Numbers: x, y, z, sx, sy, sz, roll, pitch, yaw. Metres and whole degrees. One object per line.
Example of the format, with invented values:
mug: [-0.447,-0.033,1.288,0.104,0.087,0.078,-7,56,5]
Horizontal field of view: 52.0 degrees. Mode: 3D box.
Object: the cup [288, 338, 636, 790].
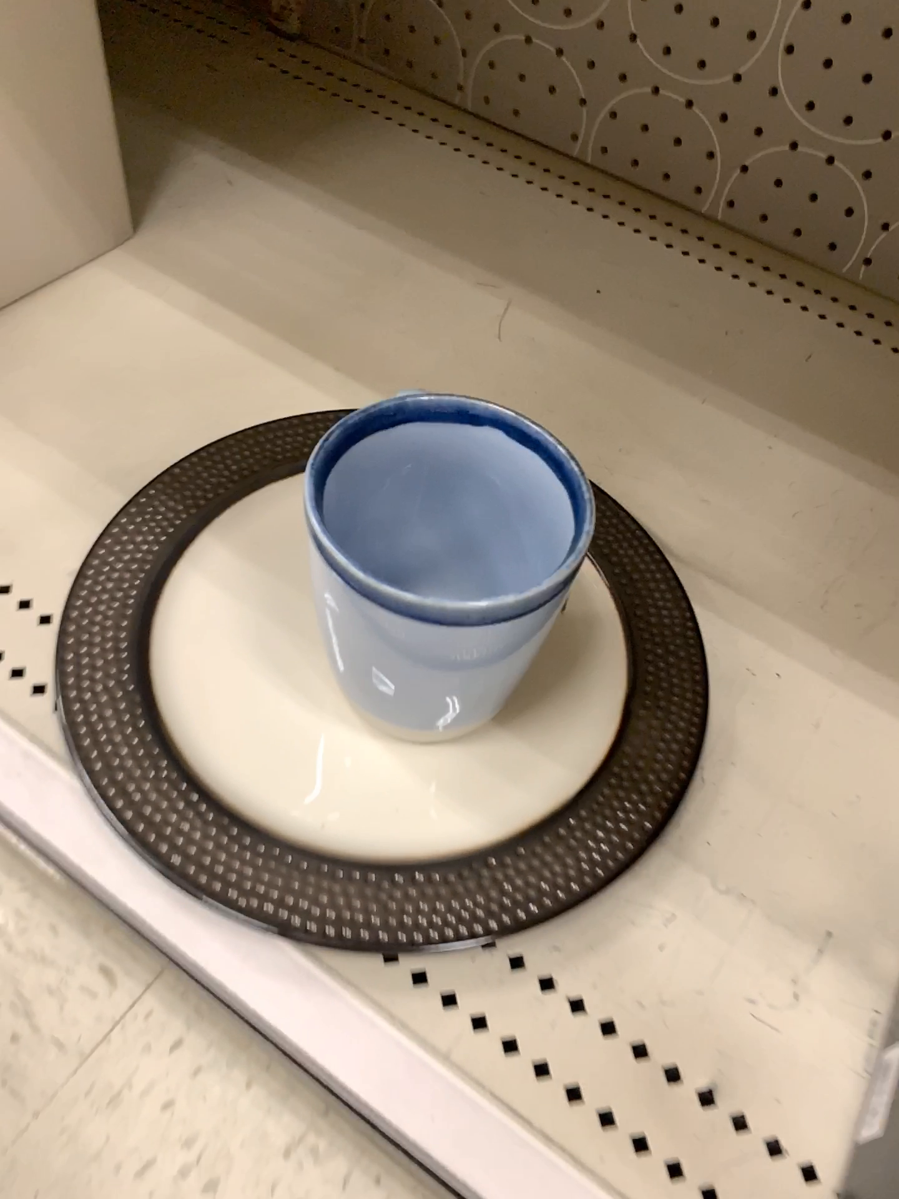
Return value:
cup: [-0.006,-0.015,0.335,0.093,0.094,0.128,-4,53,-9]
